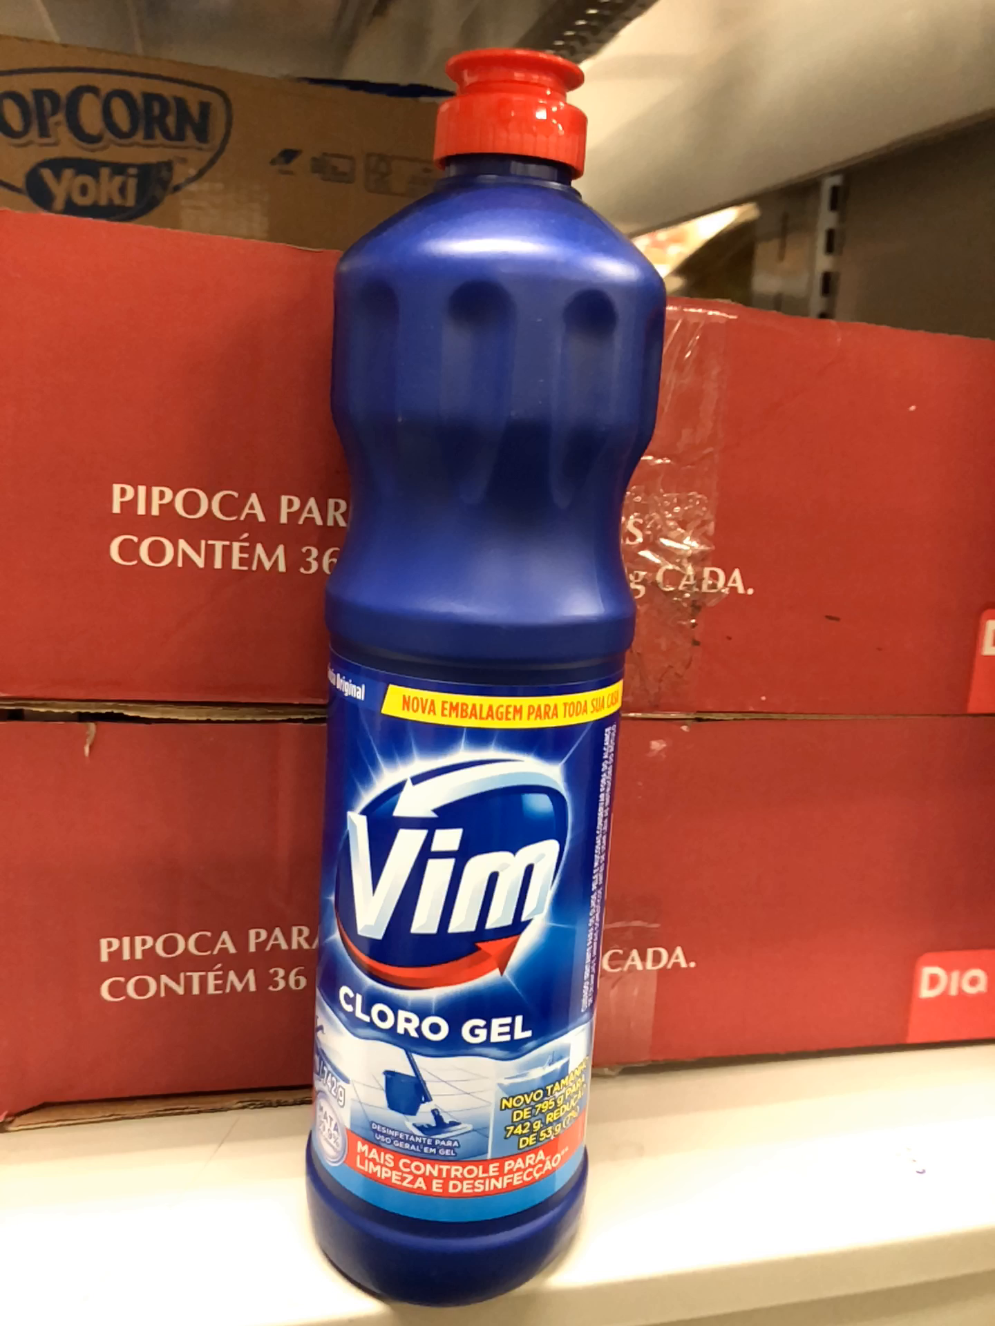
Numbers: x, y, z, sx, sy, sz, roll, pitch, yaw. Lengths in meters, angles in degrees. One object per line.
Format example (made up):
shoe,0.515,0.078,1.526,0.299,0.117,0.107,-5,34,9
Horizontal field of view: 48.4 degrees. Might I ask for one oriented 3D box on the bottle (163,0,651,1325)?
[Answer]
bottle,-0.015,0.005,0.213,0.070,0.229,0.060,3,13,3
